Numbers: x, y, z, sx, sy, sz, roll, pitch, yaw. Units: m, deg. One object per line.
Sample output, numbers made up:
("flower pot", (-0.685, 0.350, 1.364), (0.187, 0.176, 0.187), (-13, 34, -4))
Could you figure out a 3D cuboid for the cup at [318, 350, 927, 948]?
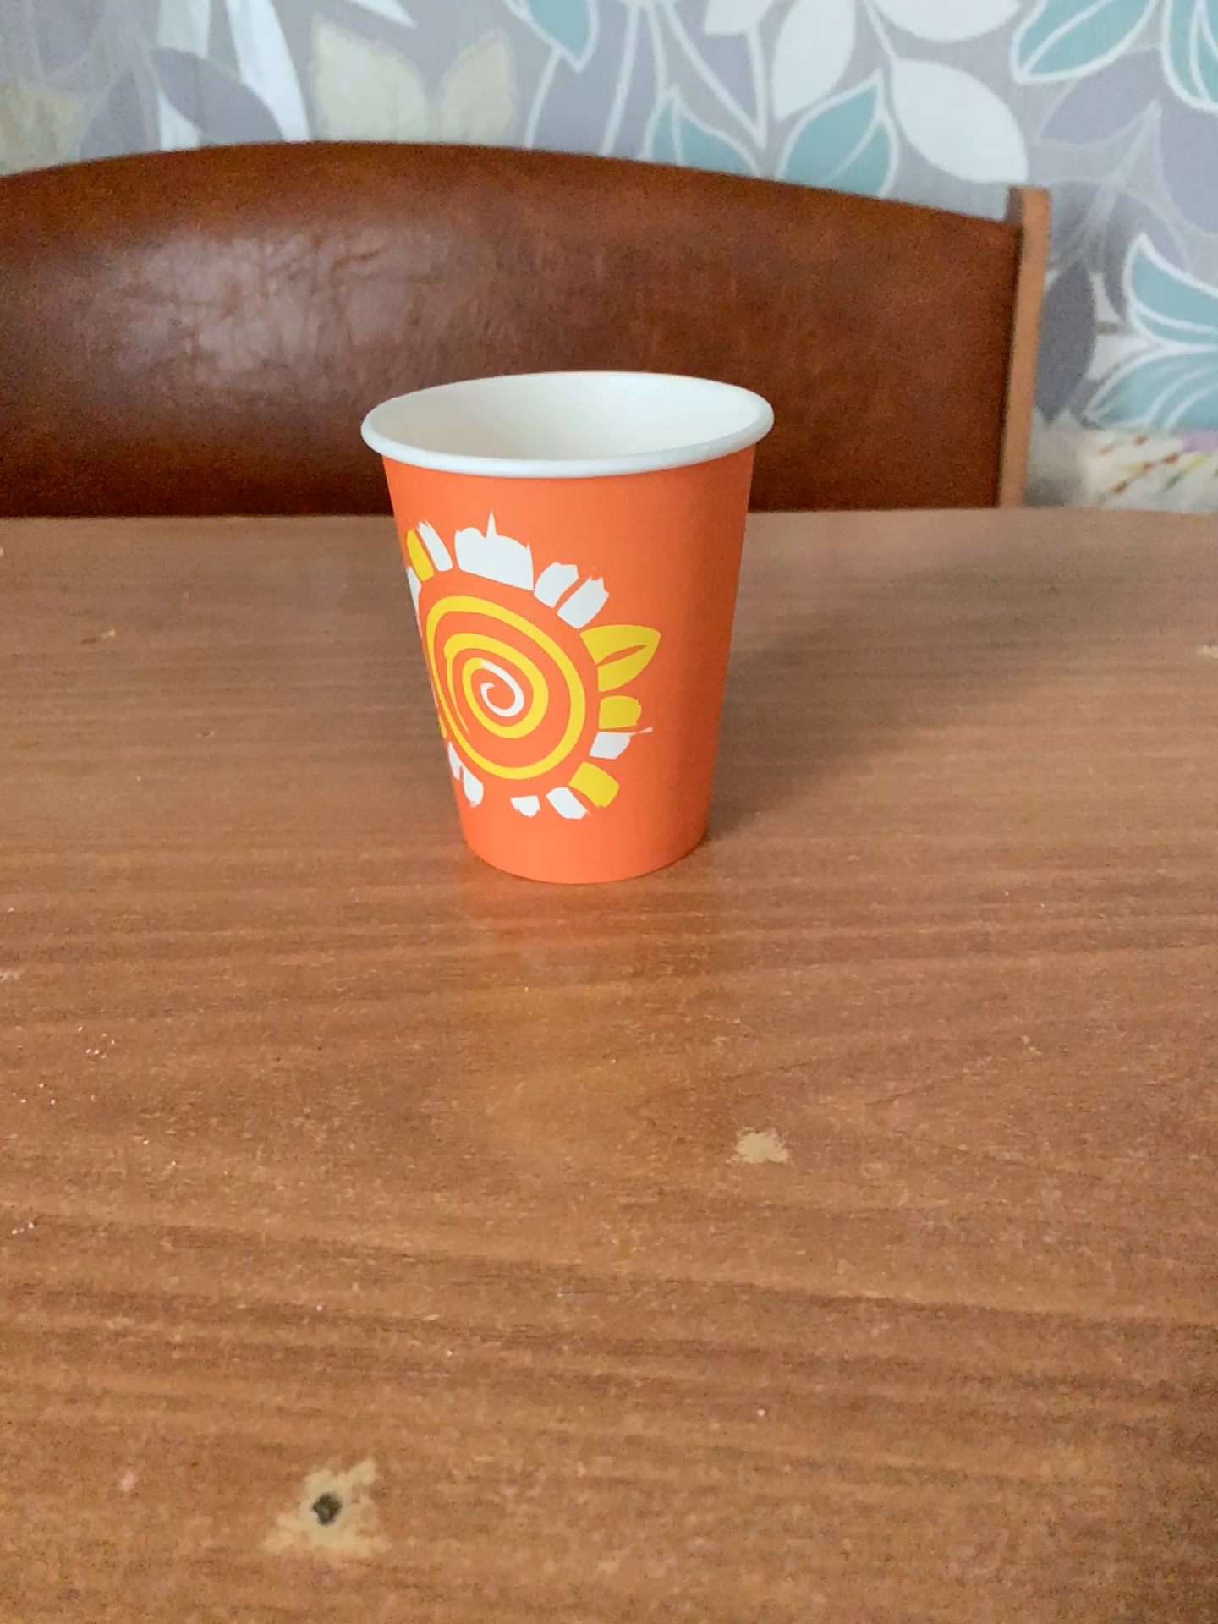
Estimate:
("cup", (0.002, -0.043, 0.273), (0.089, 0.087, 0.084), (-1, 30, 1))
